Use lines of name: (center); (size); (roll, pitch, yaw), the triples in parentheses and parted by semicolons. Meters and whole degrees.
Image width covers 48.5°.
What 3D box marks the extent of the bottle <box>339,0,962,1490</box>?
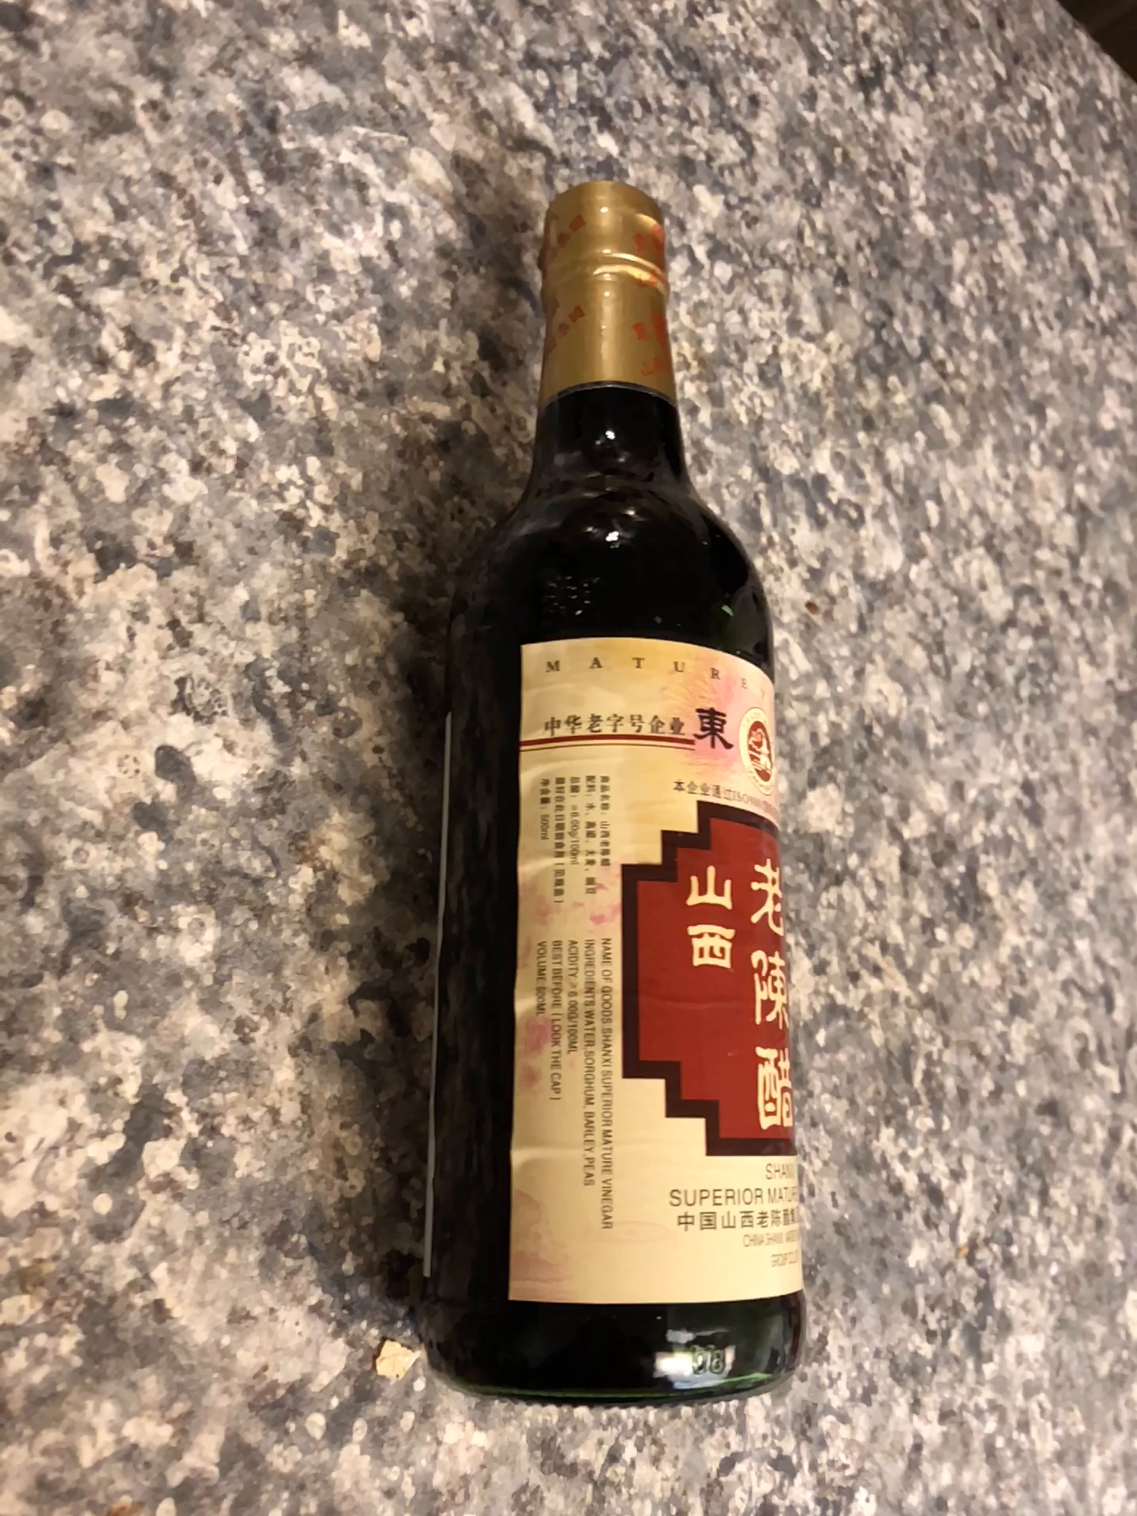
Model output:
bottle: (0.014, -0.010, 0.237); (0.070, 0.070, 0.240); (18, 65, -43)
